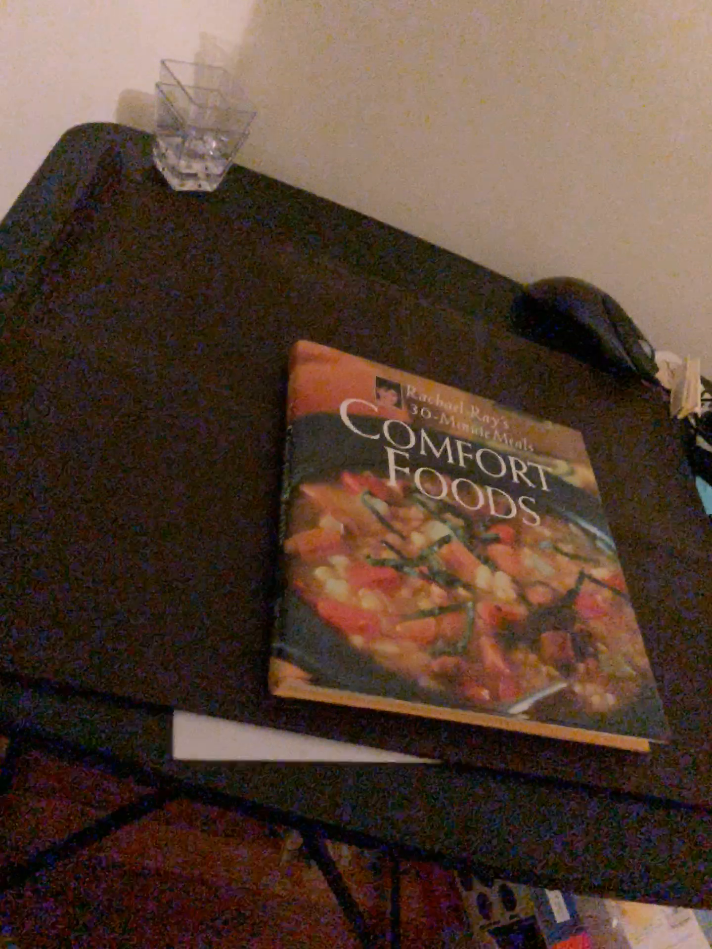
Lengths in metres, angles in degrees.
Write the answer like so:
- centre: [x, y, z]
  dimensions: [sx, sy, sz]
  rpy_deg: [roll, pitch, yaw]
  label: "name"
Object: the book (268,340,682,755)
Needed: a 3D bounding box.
- centre: [0.057, 0.032, 0.382]
  dimensions: [0.200, 0.020, 0.201]
  rpy_deg: [15, 47, -20]
  label: "book"
